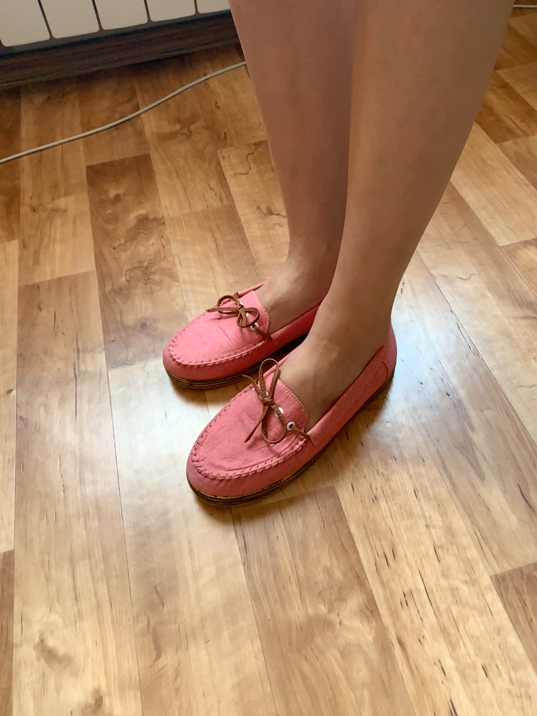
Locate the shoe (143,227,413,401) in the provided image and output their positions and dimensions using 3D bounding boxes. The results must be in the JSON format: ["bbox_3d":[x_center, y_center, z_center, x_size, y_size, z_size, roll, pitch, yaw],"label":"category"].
[{"bbox_3d":[0.010,-0.051,0.592,0.260,0.060,0.100,-19,54,-9],"label":"shoe"}]

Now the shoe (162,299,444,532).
[{"bbox_3d":[0.036,0.047,0.523,0.250,0.060,0.090,-30,57,-17],"label":"shoe"}]
